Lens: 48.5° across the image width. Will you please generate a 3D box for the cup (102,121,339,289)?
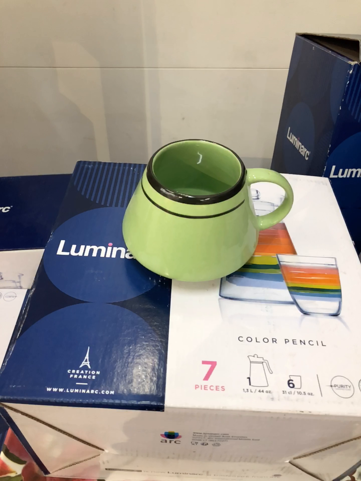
[{"bbox_3d":[0.026,-0.032,0.302,0.140,0.070,0.111,3,39,3],"label":"cup"}]
